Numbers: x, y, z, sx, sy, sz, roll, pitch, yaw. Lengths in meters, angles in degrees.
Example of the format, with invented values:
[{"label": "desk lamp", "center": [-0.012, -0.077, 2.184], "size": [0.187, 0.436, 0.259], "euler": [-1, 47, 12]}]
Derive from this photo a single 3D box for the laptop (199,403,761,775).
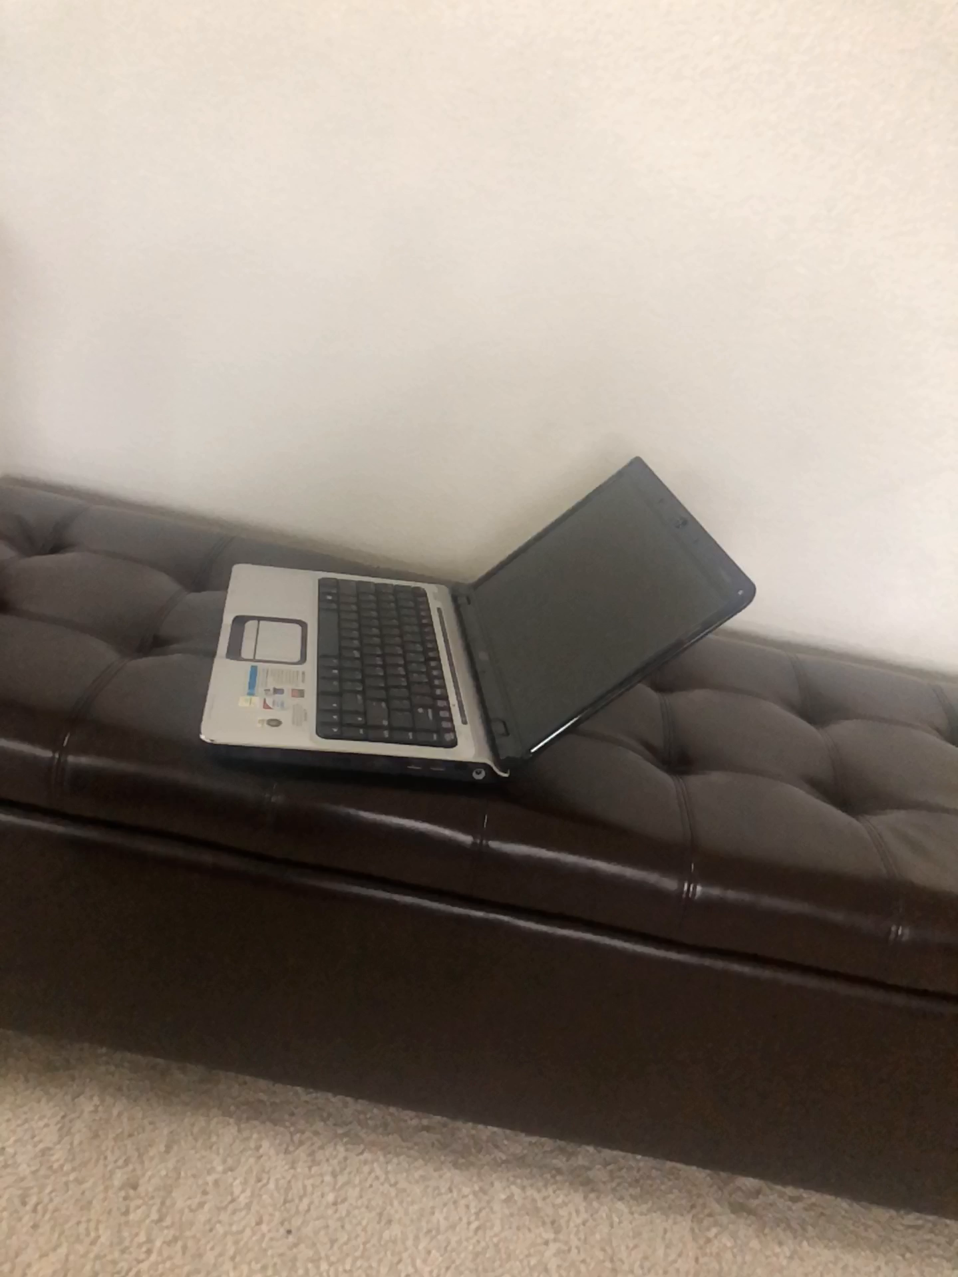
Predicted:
[{"label": "laptop", "center": [-0.019, -0.055, 0.897], "size": [0.381, 0.161, 0.327], "euler": [6, 25, -12]}]
